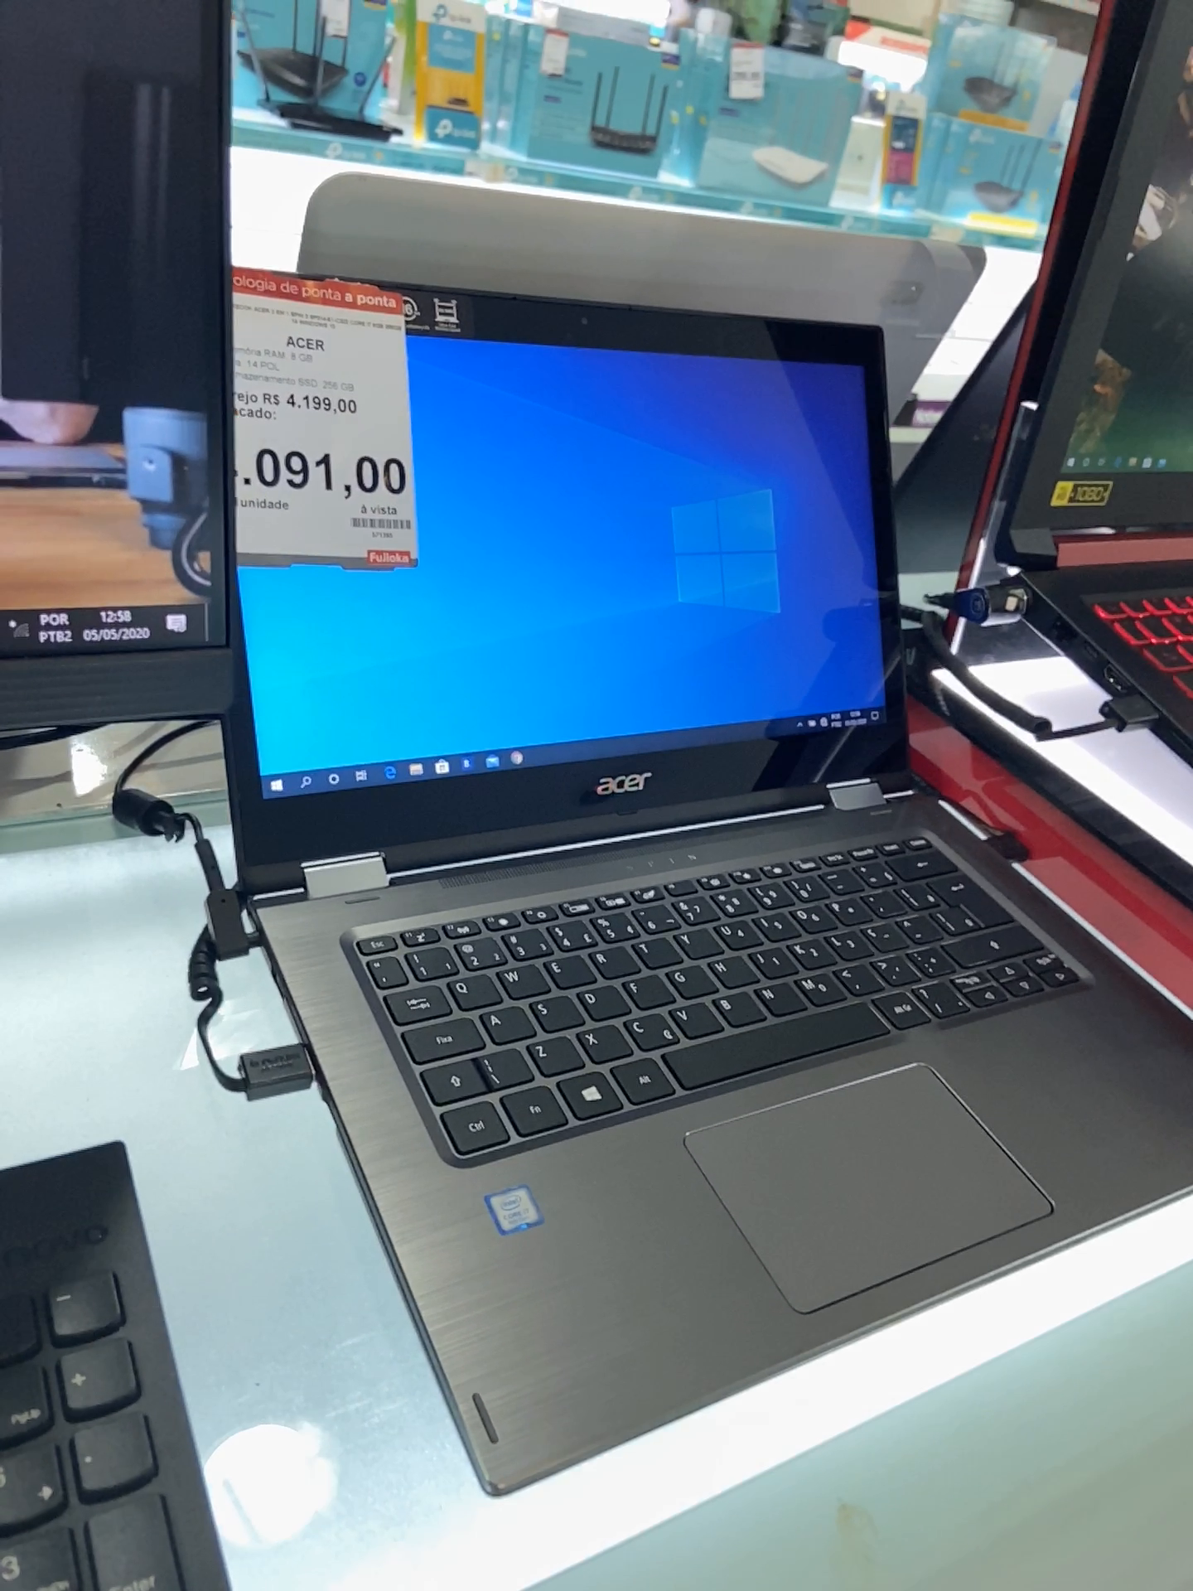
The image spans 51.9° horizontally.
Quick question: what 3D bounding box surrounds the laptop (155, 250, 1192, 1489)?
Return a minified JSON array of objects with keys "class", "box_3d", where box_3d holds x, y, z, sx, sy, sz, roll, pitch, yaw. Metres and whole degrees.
[{"class":"laptop","box_3d":[0.052,-0.035,0.439,0.328,0.187,0.357,-8,37,-29]}]
